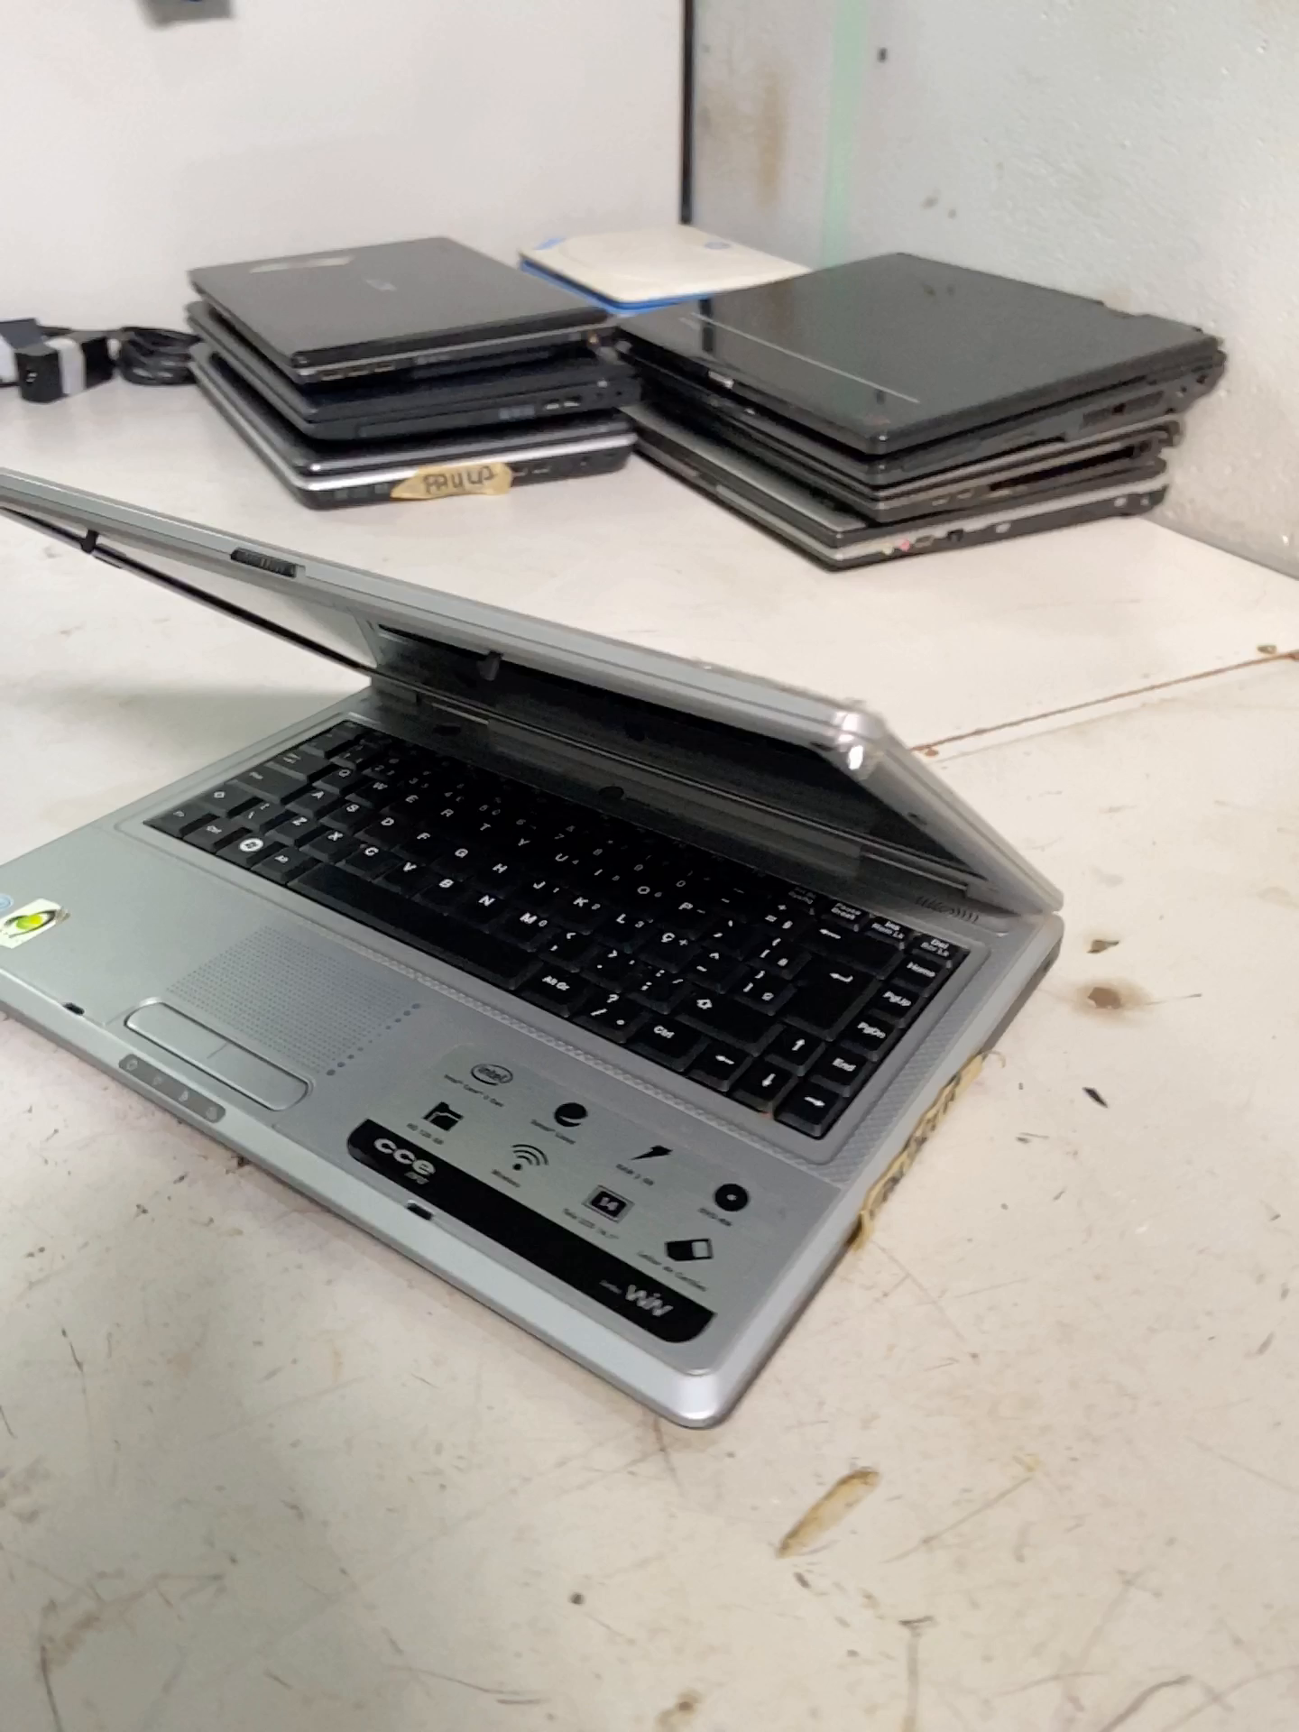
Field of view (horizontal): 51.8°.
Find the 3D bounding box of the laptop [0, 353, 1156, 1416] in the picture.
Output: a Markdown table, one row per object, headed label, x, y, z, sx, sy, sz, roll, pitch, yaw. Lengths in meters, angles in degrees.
| label | x | y | z | sx | sy | sz | roll | pitch | yaw |
| --- | --- | --- | --- | --- | --- | --- | --- | --- | --- |
| laptop | -0.056 | -0.043 | 0.433 | 0.336 | 0.153 | 0.243 | 20 | 38 | 28 |
